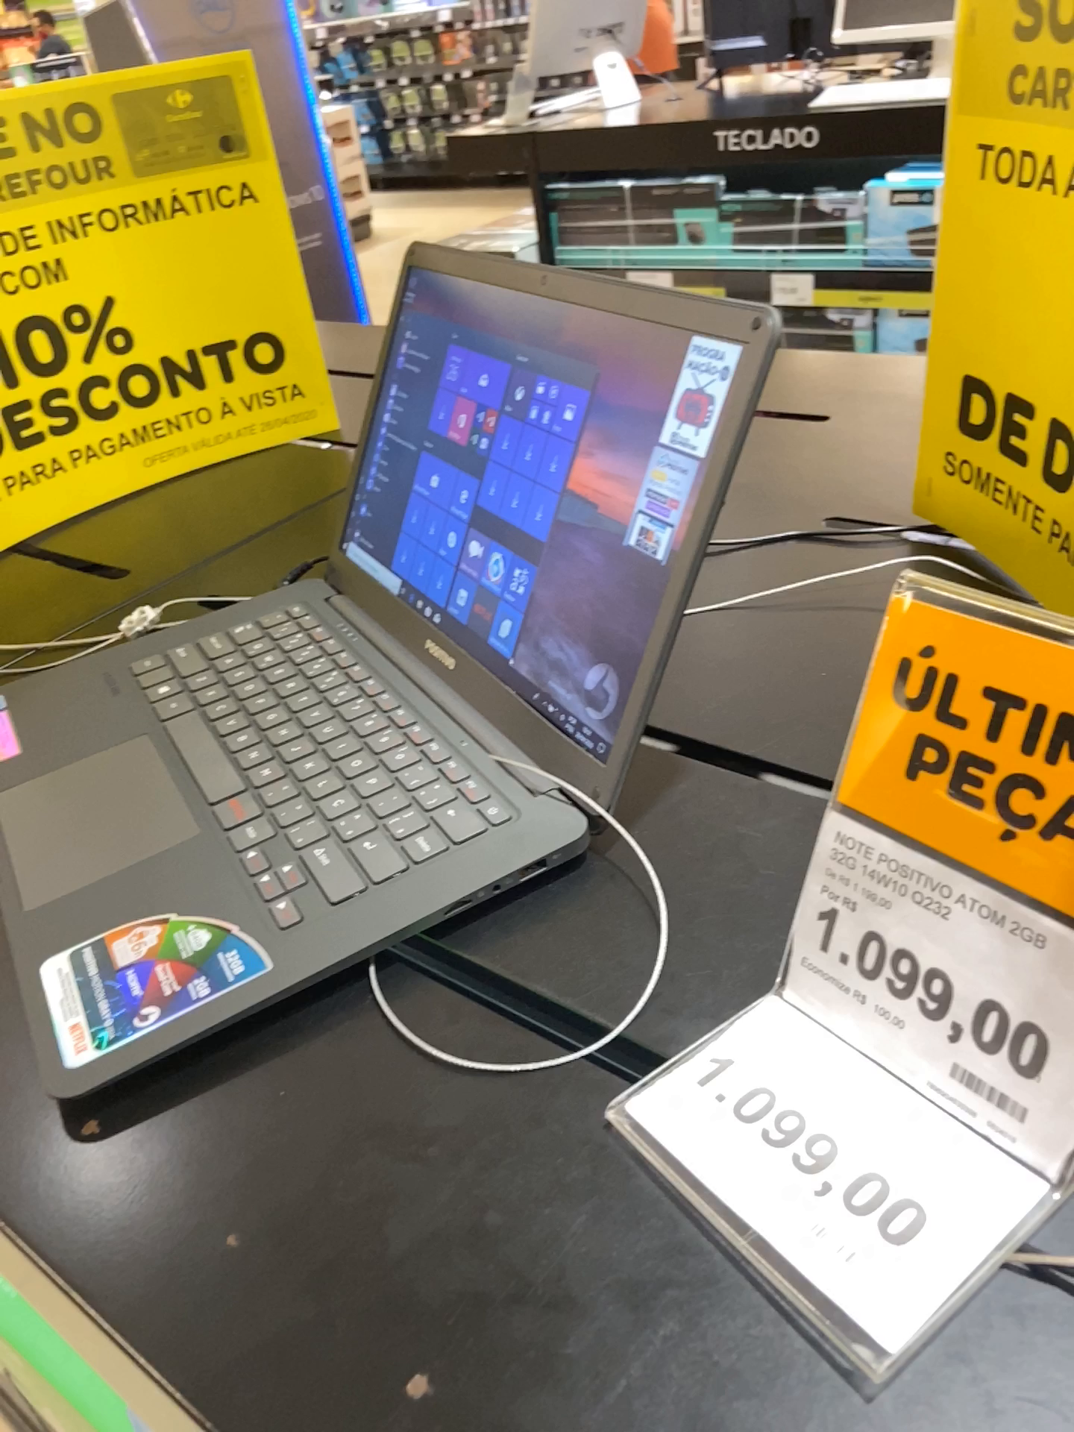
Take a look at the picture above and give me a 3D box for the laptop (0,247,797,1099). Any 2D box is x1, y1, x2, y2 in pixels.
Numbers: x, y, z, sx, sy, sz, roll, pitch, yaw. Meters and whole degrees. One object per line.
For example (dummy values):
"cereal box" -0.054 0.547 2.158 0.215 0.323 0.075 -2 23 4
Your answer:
"laptop" -0.106 -0.066 0.457 0.292 0.159 0.297 -24 34 -21
